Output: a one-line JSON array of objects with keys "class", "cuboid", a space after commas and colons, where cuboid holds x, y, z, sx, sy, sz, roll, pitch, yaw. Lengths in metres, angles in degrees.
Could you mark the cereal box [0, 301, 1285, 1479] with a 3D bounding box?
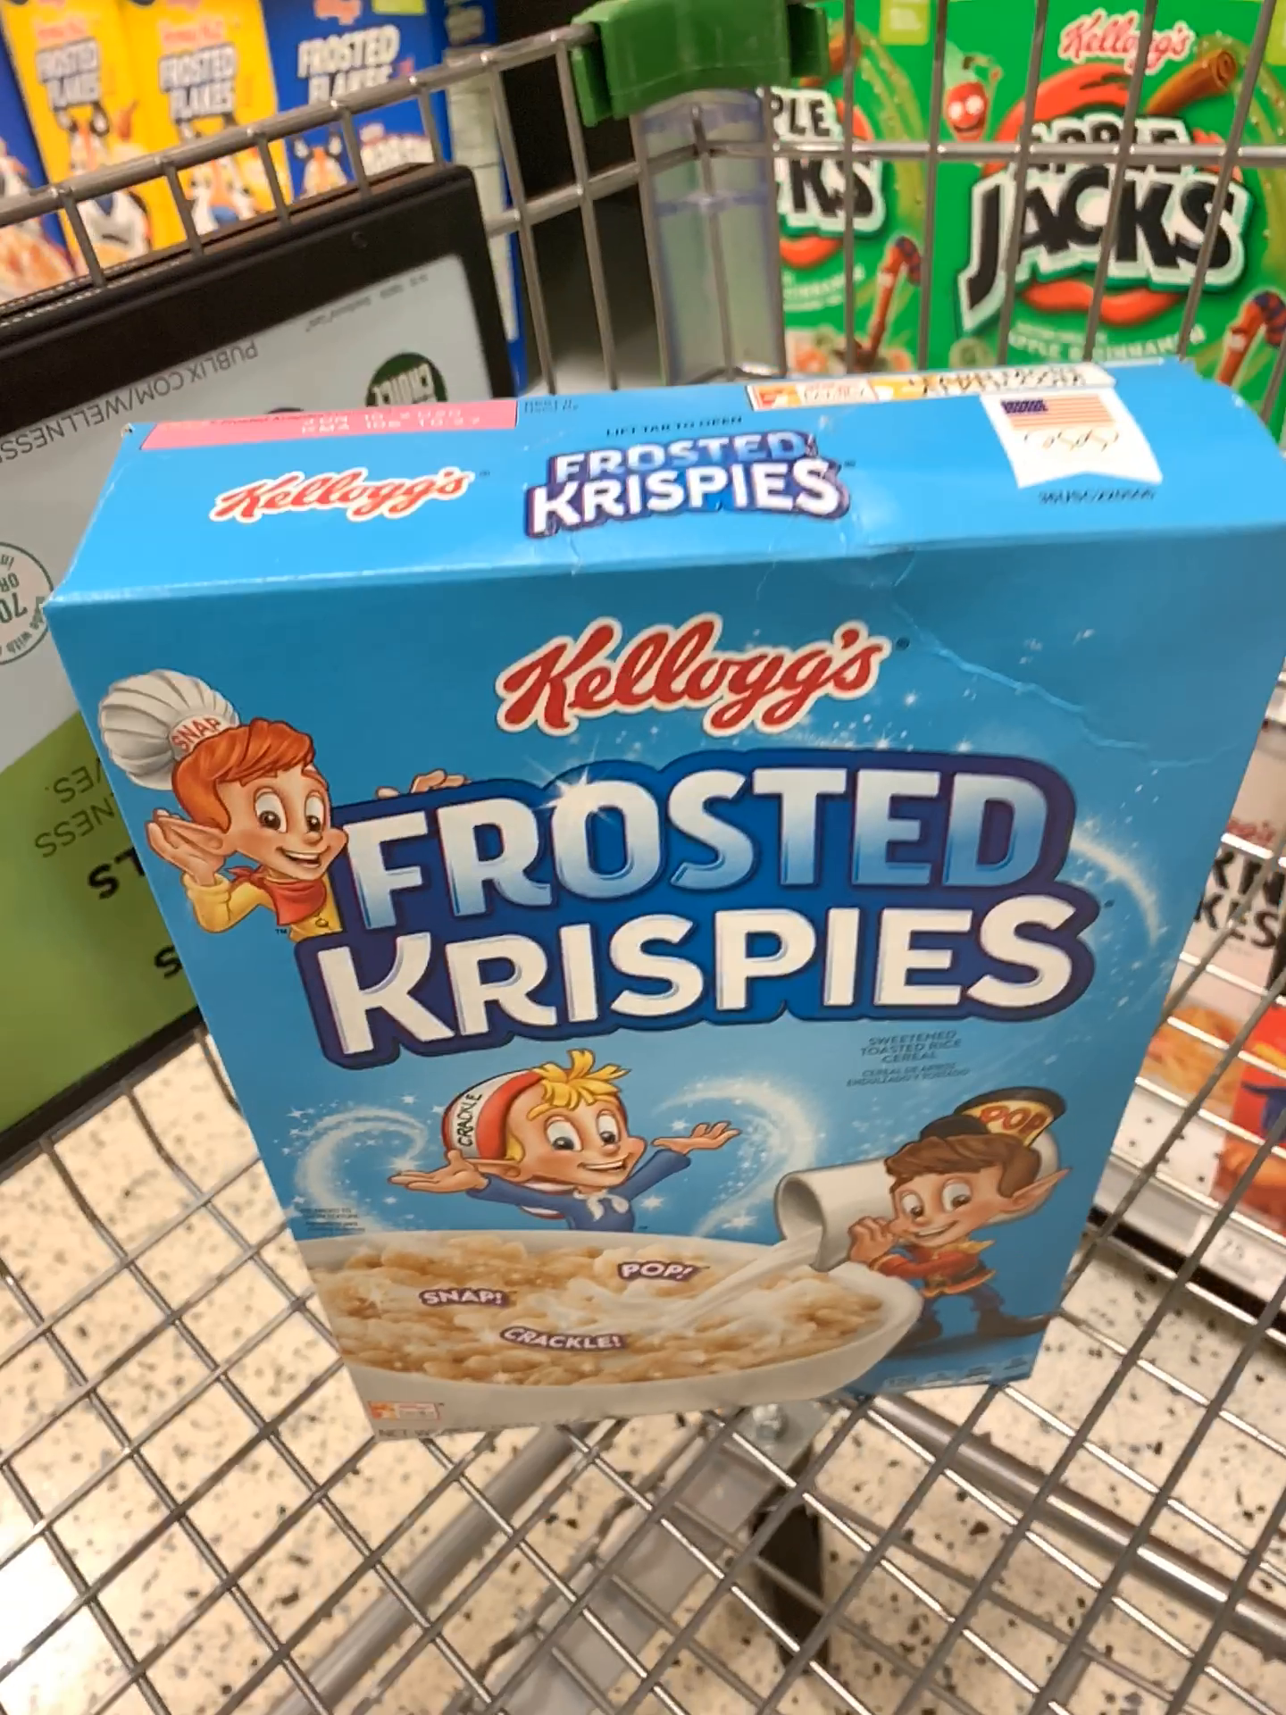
[{"class": "cereal box", "cuboid": [0.017, 0.048, 0.313, 0.200, 0.316, 0.061, -4, 45, 1]}]
